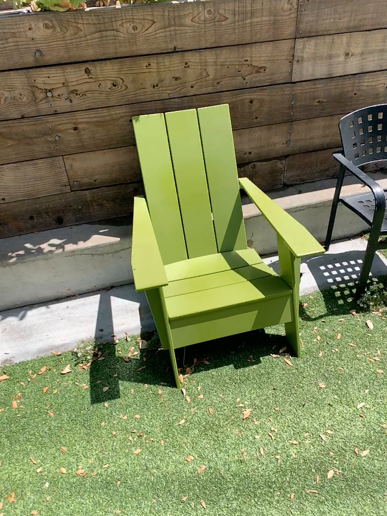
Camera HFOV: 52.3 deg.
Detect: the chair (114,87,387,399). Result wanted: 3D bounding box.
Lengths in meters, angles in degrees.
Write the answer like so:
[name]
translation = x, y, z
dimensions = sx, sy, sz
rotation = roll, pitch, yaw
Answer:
[chair]
translation = 0.127, -0.119, 1.658
dimensions = 0.720, 0.845, 0.905
rotation = -10, 38, -8
